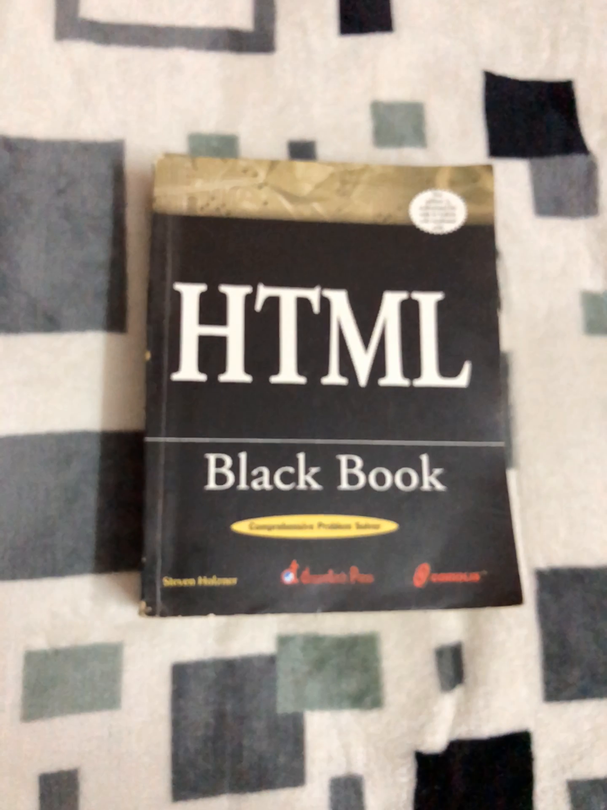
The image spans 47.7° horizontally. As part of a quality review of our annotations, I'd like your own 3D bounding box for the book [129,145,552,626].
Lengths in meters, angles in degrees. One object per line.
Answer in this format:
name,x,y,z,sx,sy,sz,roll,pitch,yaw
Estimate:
book,0.013,-0.010,0.363,0.190,0.070,0.230,0,77,-6
